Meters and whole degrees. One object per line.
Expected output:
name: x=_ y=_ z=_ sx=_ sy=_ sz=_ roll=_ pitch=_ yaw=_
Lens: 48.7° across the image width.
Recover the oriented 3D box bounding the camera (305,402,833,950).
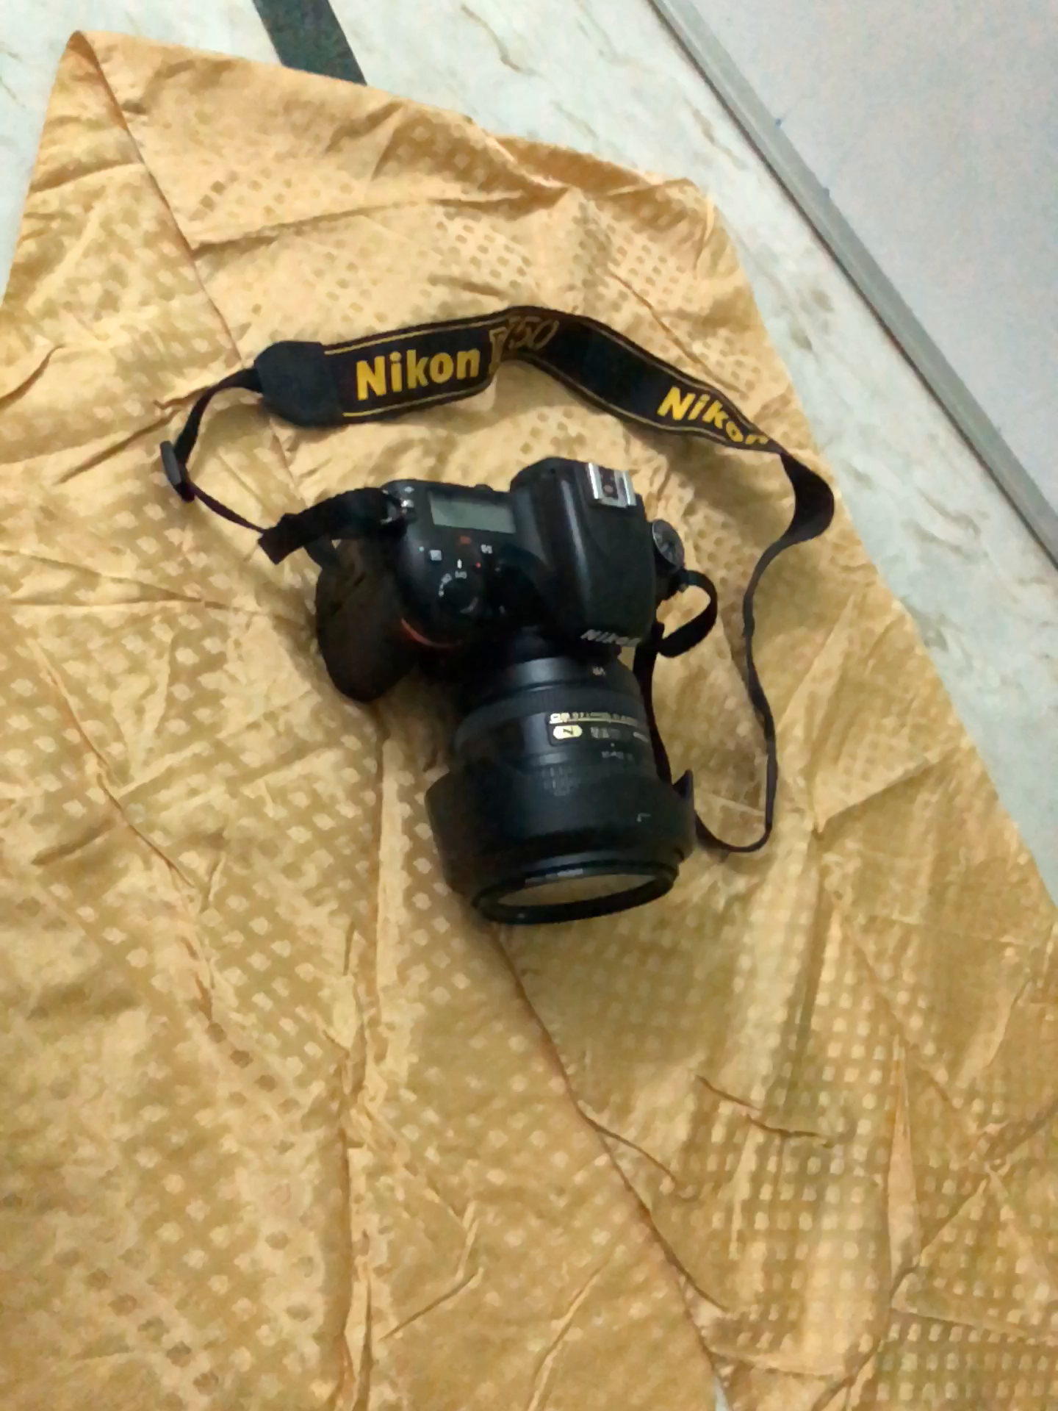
camera: x=0.009 y=-0.004 z=0.458 sx=0.149 sy=0.109 sz=0.170 roll=2 pitch=71 yaw=-32
